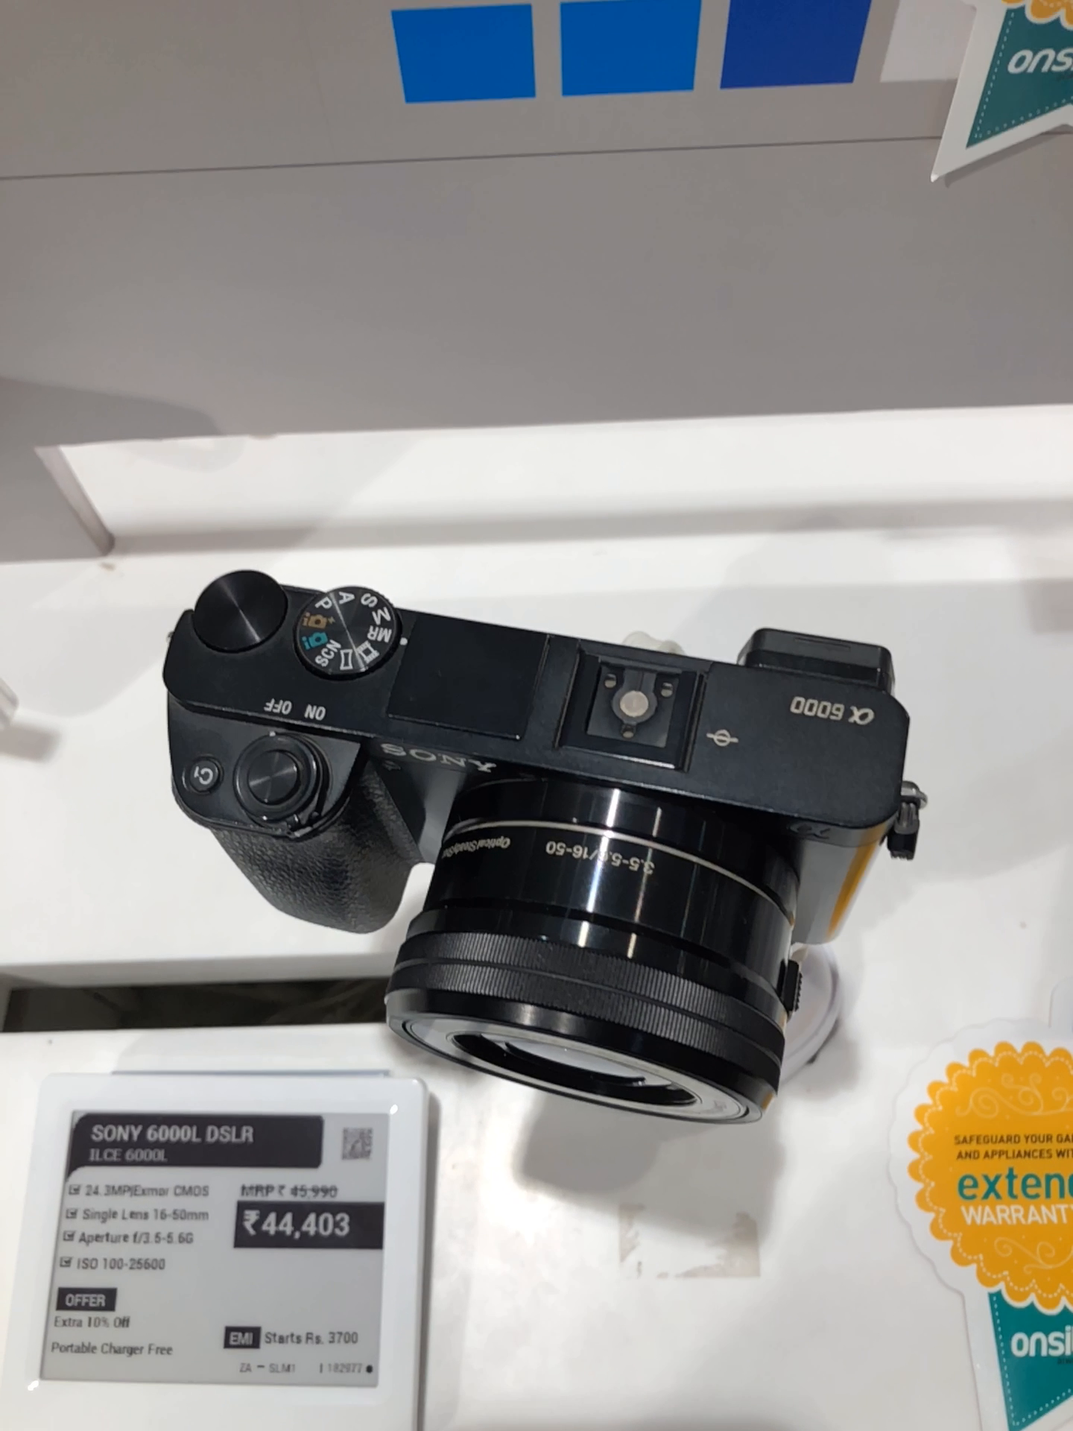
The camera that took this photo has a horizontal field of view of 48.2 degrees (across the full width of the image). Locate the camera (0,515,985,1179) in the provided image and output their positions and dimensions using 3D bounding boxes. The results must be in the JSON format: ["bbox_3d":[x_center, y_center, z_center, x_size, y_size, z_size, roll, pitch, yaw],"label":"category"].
[{"bbox_3d":[-0.001,0.023,0.177,0.110,0.070,0.060,9,65,7],"label":"camera"}]
